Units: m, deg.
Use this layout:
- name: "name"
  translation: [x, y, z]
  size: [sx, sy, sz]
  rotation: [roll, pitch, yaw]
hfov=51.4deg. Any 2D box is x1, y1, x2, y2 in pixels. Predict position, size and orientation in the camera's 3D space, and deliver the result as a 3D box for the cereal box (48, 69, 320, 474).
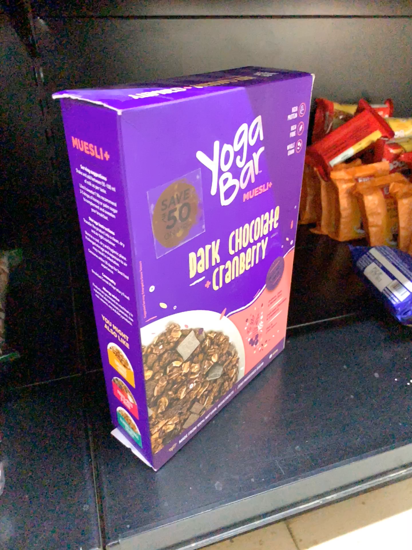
- name: "cereal box"
  translation: [0.002, -0.010, 0.296]
  size: [0.050, 0.228, 0.171]
  rotation: [22, 36, 35]
